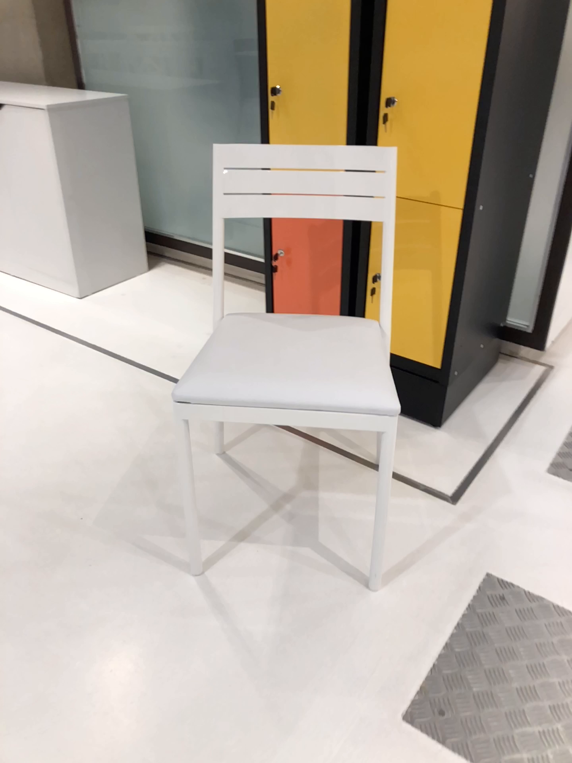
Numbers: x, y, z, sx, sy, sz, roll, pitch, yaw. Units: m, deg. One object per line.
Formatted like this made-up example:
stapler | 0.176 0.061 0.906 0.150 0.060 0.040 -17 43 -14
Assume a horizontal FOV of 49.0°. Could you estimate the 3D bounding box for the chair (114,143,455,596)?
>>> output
chair | 0.027 -0.050 1.289 0.480 0.734 0.534 3 31 6
